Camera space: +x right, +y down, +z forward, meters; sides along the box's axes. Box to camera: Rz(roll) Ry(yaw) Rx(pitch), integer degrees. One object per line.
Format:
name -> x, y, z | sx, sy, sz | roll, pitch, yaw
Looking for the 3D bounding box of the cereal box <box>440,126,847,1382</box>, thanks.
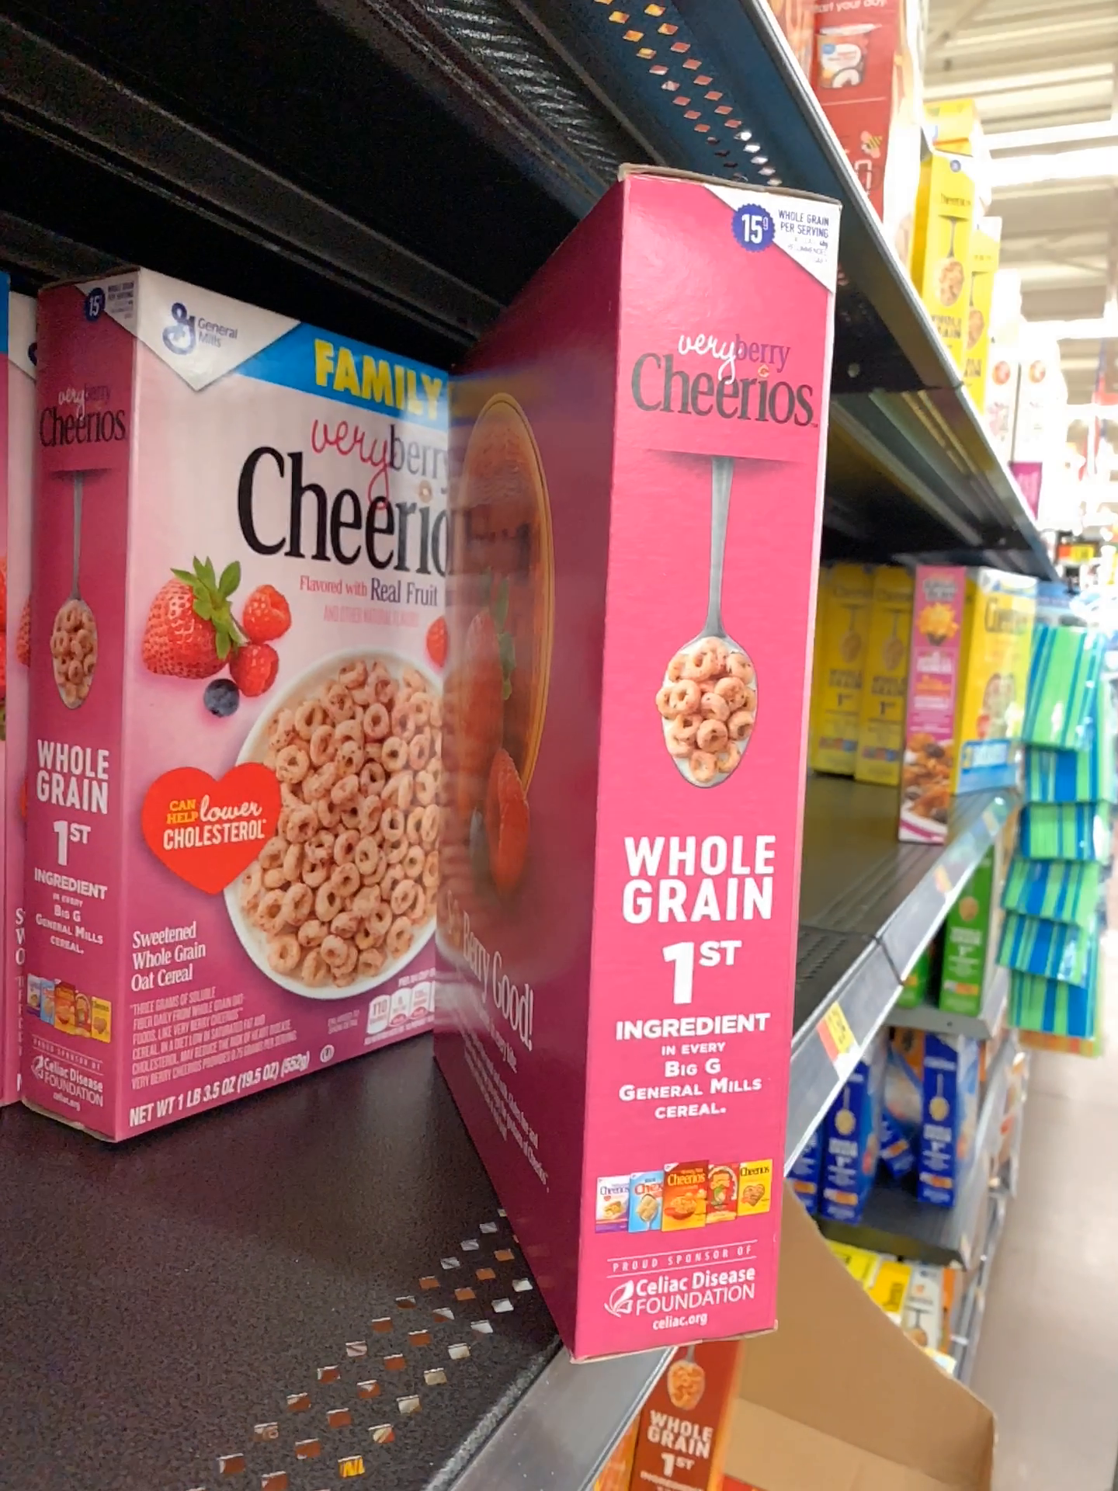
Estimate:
cereal box -> 0.009, -0.003, 0.416 | 0.060, 0.320, 0.240 | 0, 5, -15
